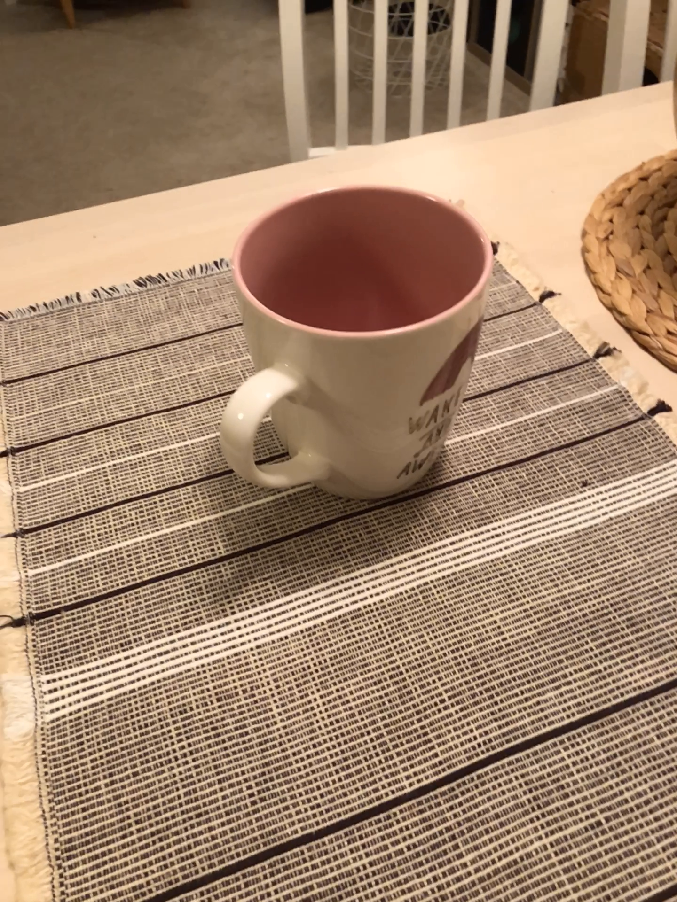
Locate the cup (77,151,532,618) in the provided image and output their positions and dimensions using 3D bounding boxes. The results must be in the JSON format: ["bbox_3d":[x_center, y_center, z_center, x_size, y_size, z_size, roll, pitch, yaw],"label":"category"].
[{"bbox_3d":[-0.007,-0.040,0.358,0.120,0.119,0.161,26,54,24],"label":"cup"}]
